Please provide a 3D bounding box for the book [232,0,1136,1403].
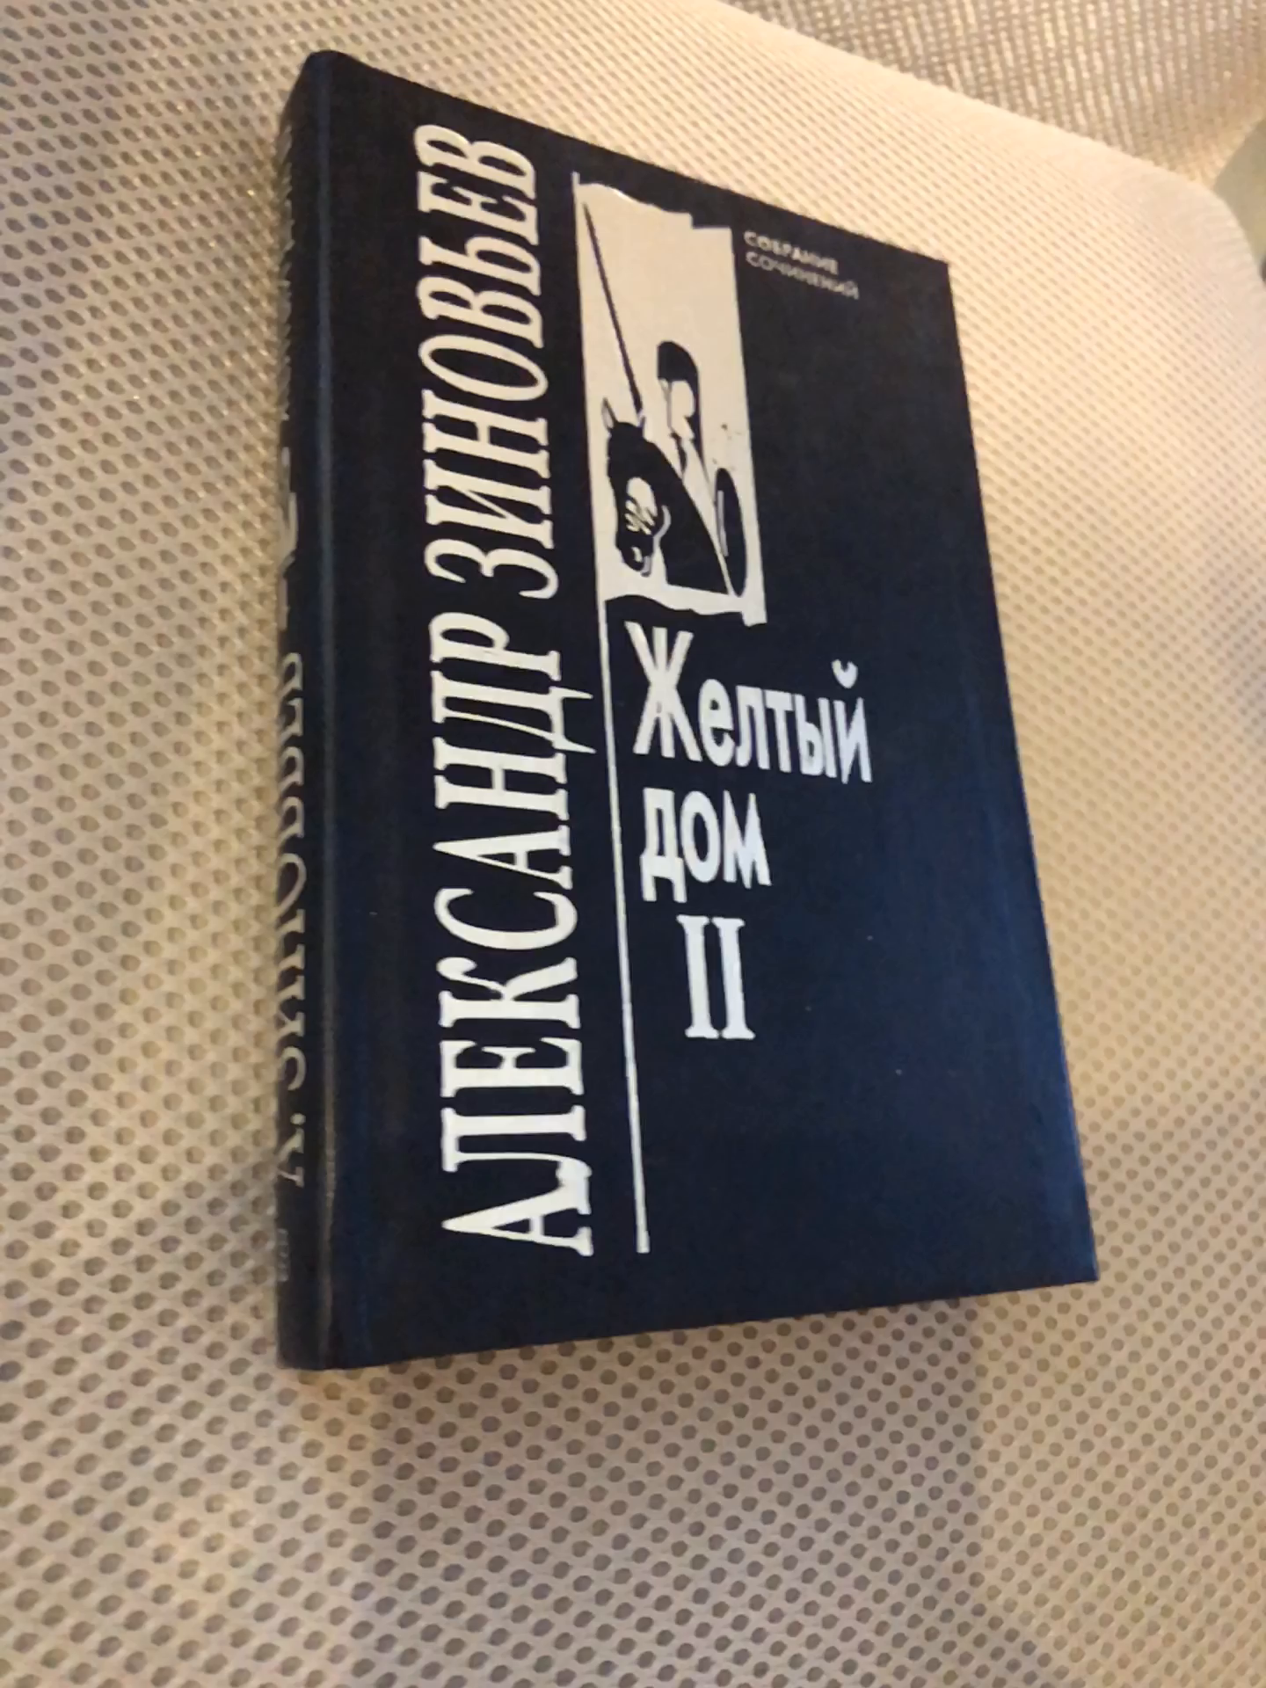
[{"bbox_3d":[0.007,-0.026,0.241,0.141,0.030,0.211,5,72,-28],"label":"book"}]
